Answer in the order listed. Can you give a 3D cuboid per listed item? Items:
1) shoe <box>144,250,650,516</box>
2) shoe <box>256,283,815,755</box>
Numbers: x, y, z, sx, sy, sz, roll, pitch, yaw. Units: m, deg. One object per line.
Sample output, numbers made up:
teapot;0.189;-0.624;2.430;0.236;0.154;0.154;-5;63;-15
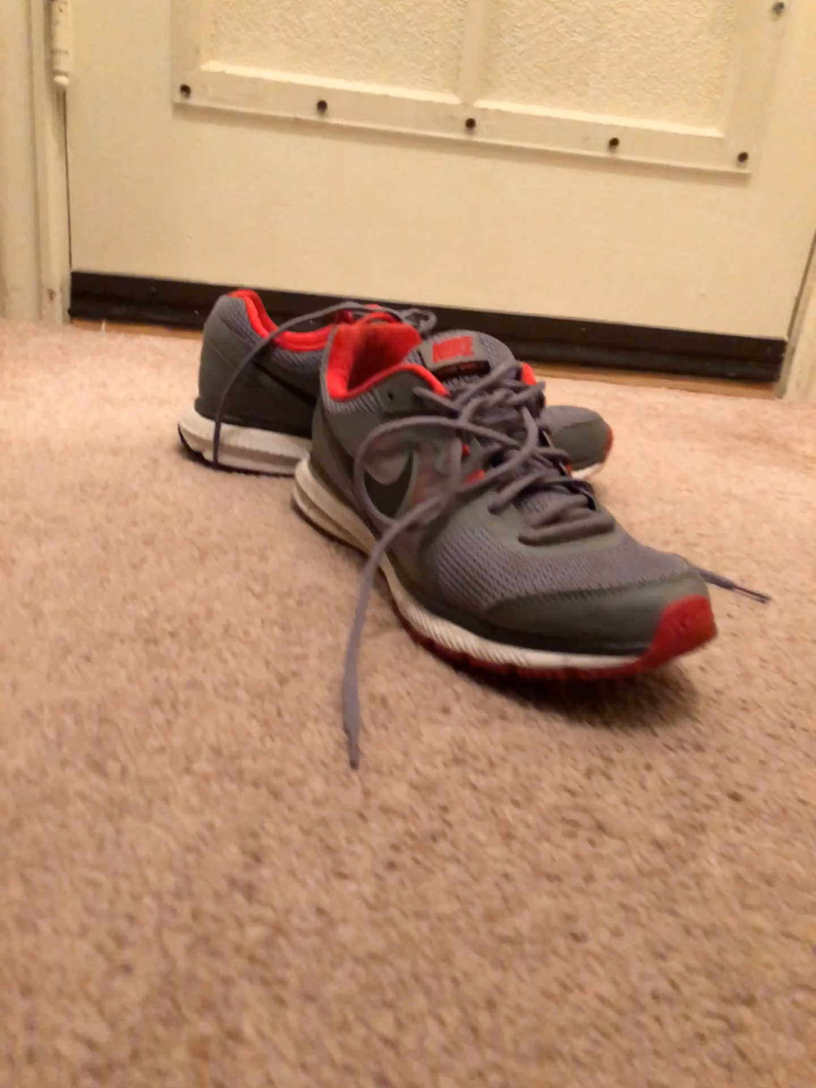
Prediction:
shoe;-0.011;-0.112;0.596;0.297;0.120;0.114;7;22;-1
shoe;0.033;-0.042;0.444;0.113;0.120;0.298;-6;26;-29
